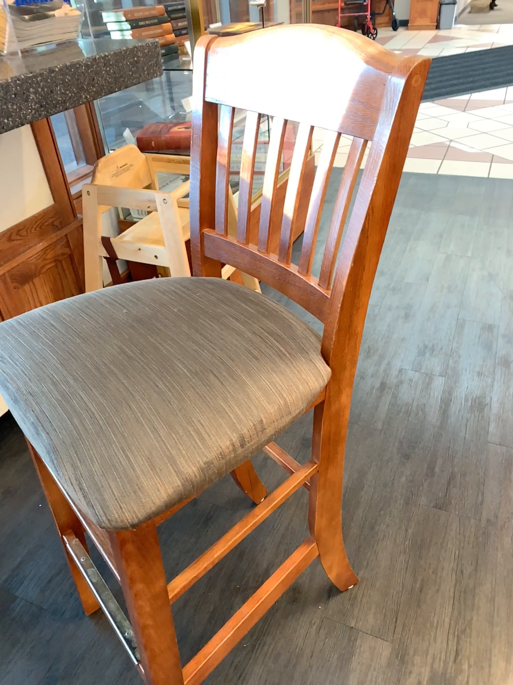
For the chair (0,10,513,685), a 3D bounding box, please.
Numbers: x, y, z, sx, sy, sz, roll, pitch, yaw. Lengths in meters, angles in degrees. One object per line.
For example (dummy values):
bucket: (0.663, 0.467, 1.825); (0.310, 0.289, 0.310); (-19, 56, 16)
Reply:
chair: (-0.113, 0.076, 0.915); (0.661, 1.045, 0.602); (-26, 41, -27)
